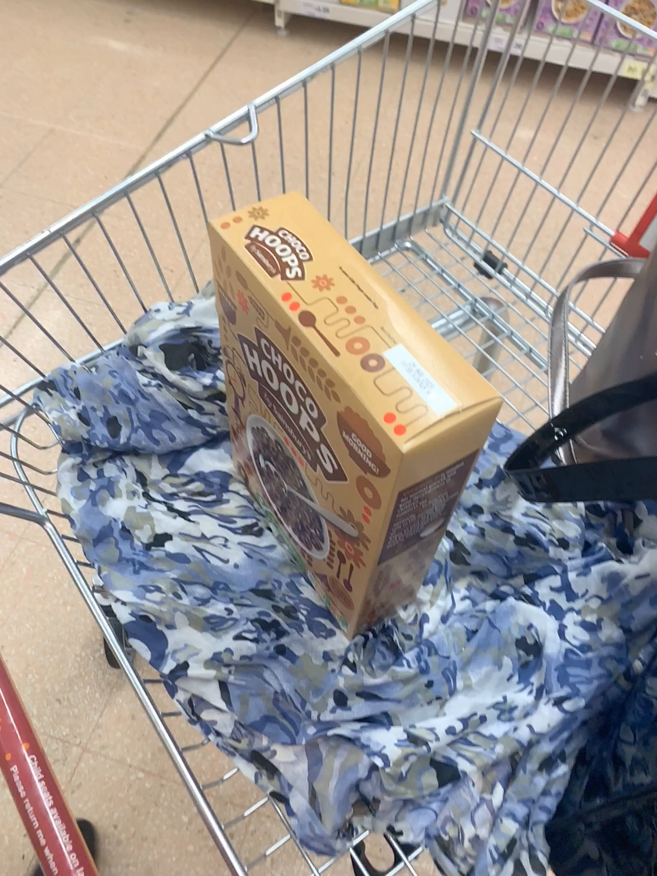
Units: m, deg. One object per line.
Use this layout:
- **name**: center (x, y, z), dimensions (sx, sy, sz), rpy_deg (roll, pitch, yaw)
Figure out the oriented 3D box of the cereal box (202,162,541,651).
- **cereal box**: center (0.003, 0.000, 0.491), dimensions (0.070, 0.298, 0.221), rpy_deg (-28, 63, -21)
